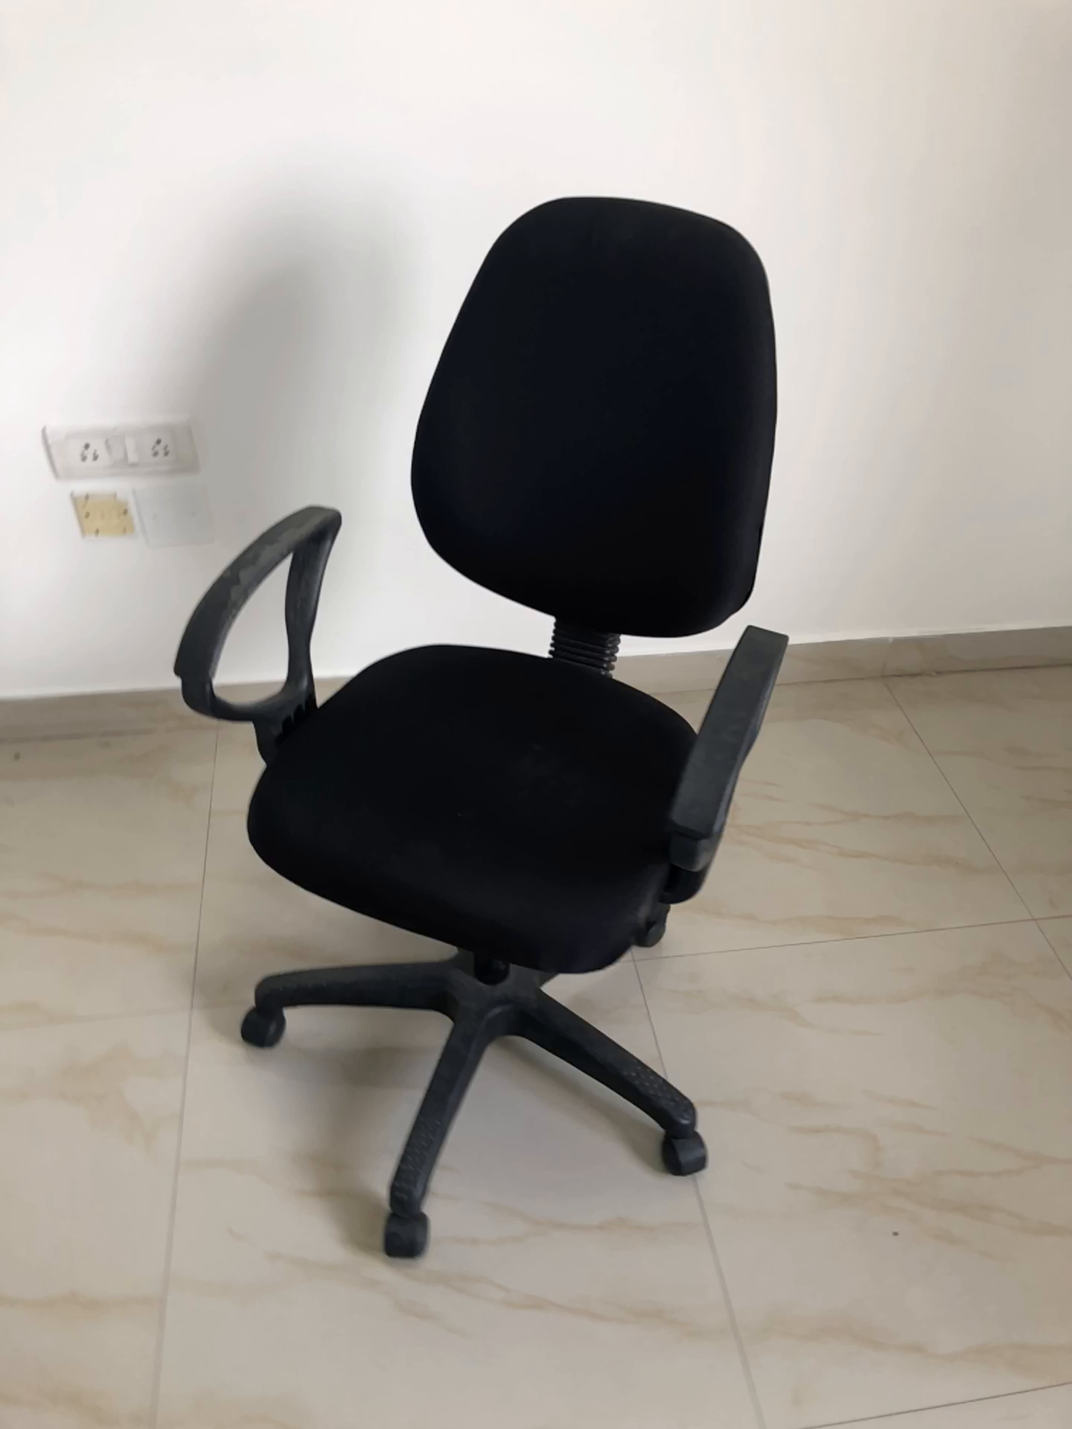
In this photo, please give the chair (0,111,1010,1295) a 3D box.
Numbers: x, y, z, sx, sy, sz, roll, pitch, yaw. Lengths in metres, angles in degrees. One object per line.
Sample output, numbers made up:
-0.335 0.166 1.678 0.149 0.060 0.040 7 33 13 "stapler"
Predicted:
0.010 -0.036 1.219 0.680 0.884 0.674 12 40 12 "chair"
